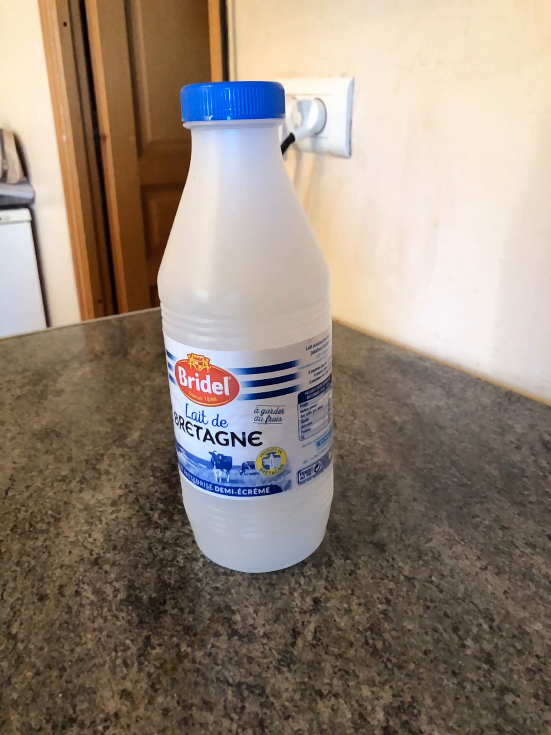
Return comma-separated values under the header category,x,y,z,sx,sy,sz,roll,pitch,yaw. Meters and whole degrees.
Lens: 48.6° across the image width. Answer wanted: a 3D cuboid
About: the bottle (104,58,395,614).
category,x,y,z,sx,sy,sz,roll,pitch,yaw
bottle,-0.008,-0.017,0.308,0.090,0.239,0.090,-1,21,0
